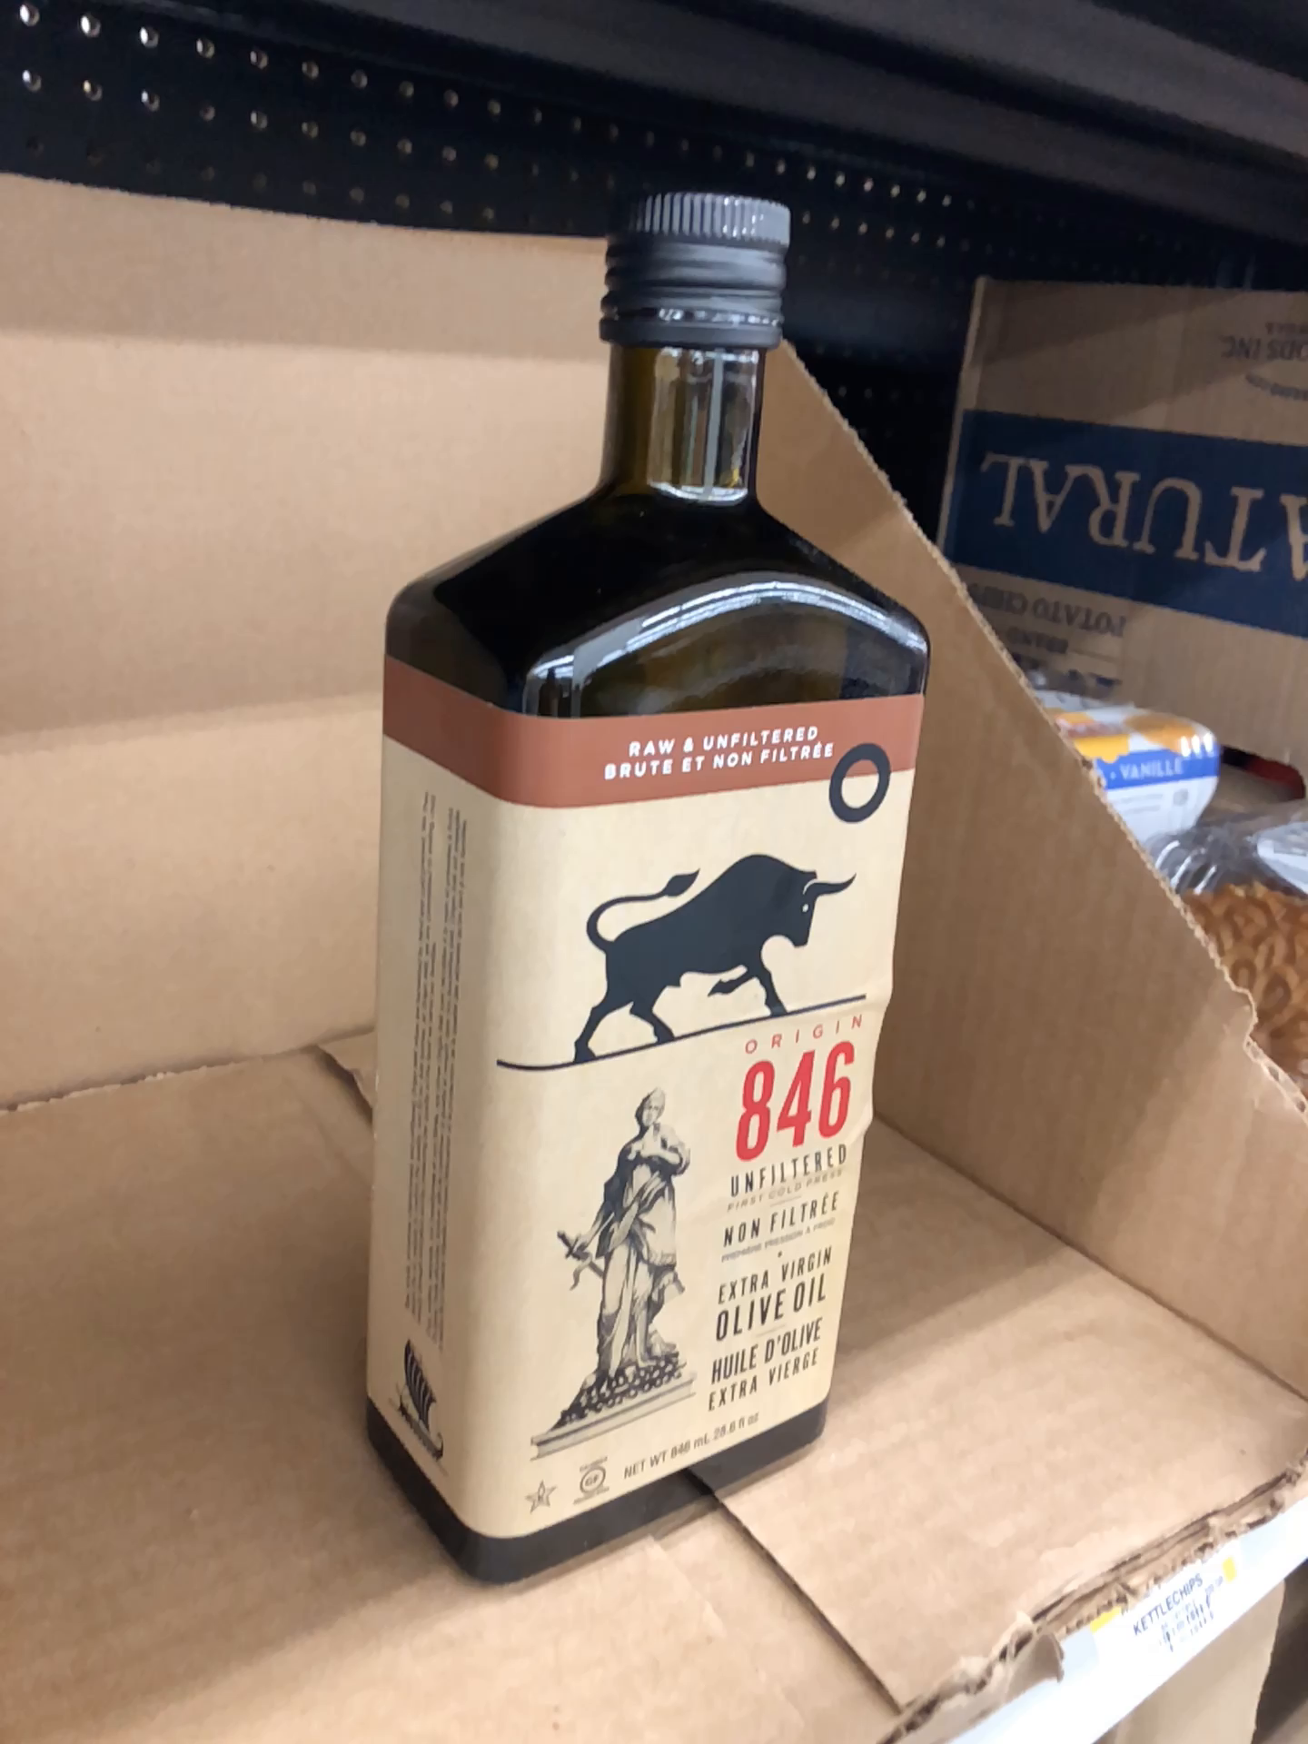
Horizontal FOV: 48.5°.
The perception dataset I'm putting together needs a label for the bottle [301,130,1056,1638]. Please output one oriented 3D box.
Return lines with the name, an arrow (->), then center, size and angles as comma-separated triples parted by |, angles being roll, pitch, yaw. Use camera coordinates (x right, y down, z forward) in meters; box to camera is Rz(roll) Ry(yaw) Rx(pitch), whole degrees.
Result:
bottle -> -0.004, 0.007, 0.276 | 0.100, 0.249, 0.060 | -8, 24, -37
